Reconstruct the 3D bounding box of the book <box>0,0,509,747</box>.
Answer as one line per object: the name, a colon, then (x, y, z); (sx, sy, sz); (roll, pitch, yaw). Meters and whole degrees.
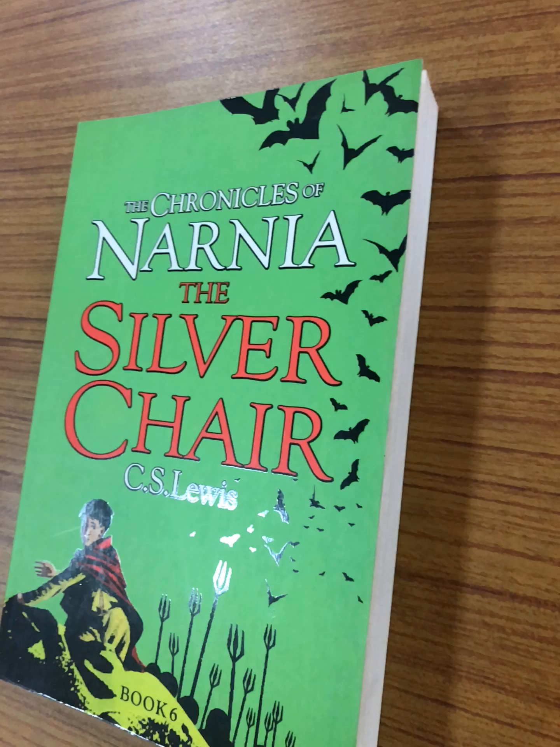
book: (-0.014, 0.003, 0.195); (0.140, 0.030, 0.210); (4, 85, 27)
